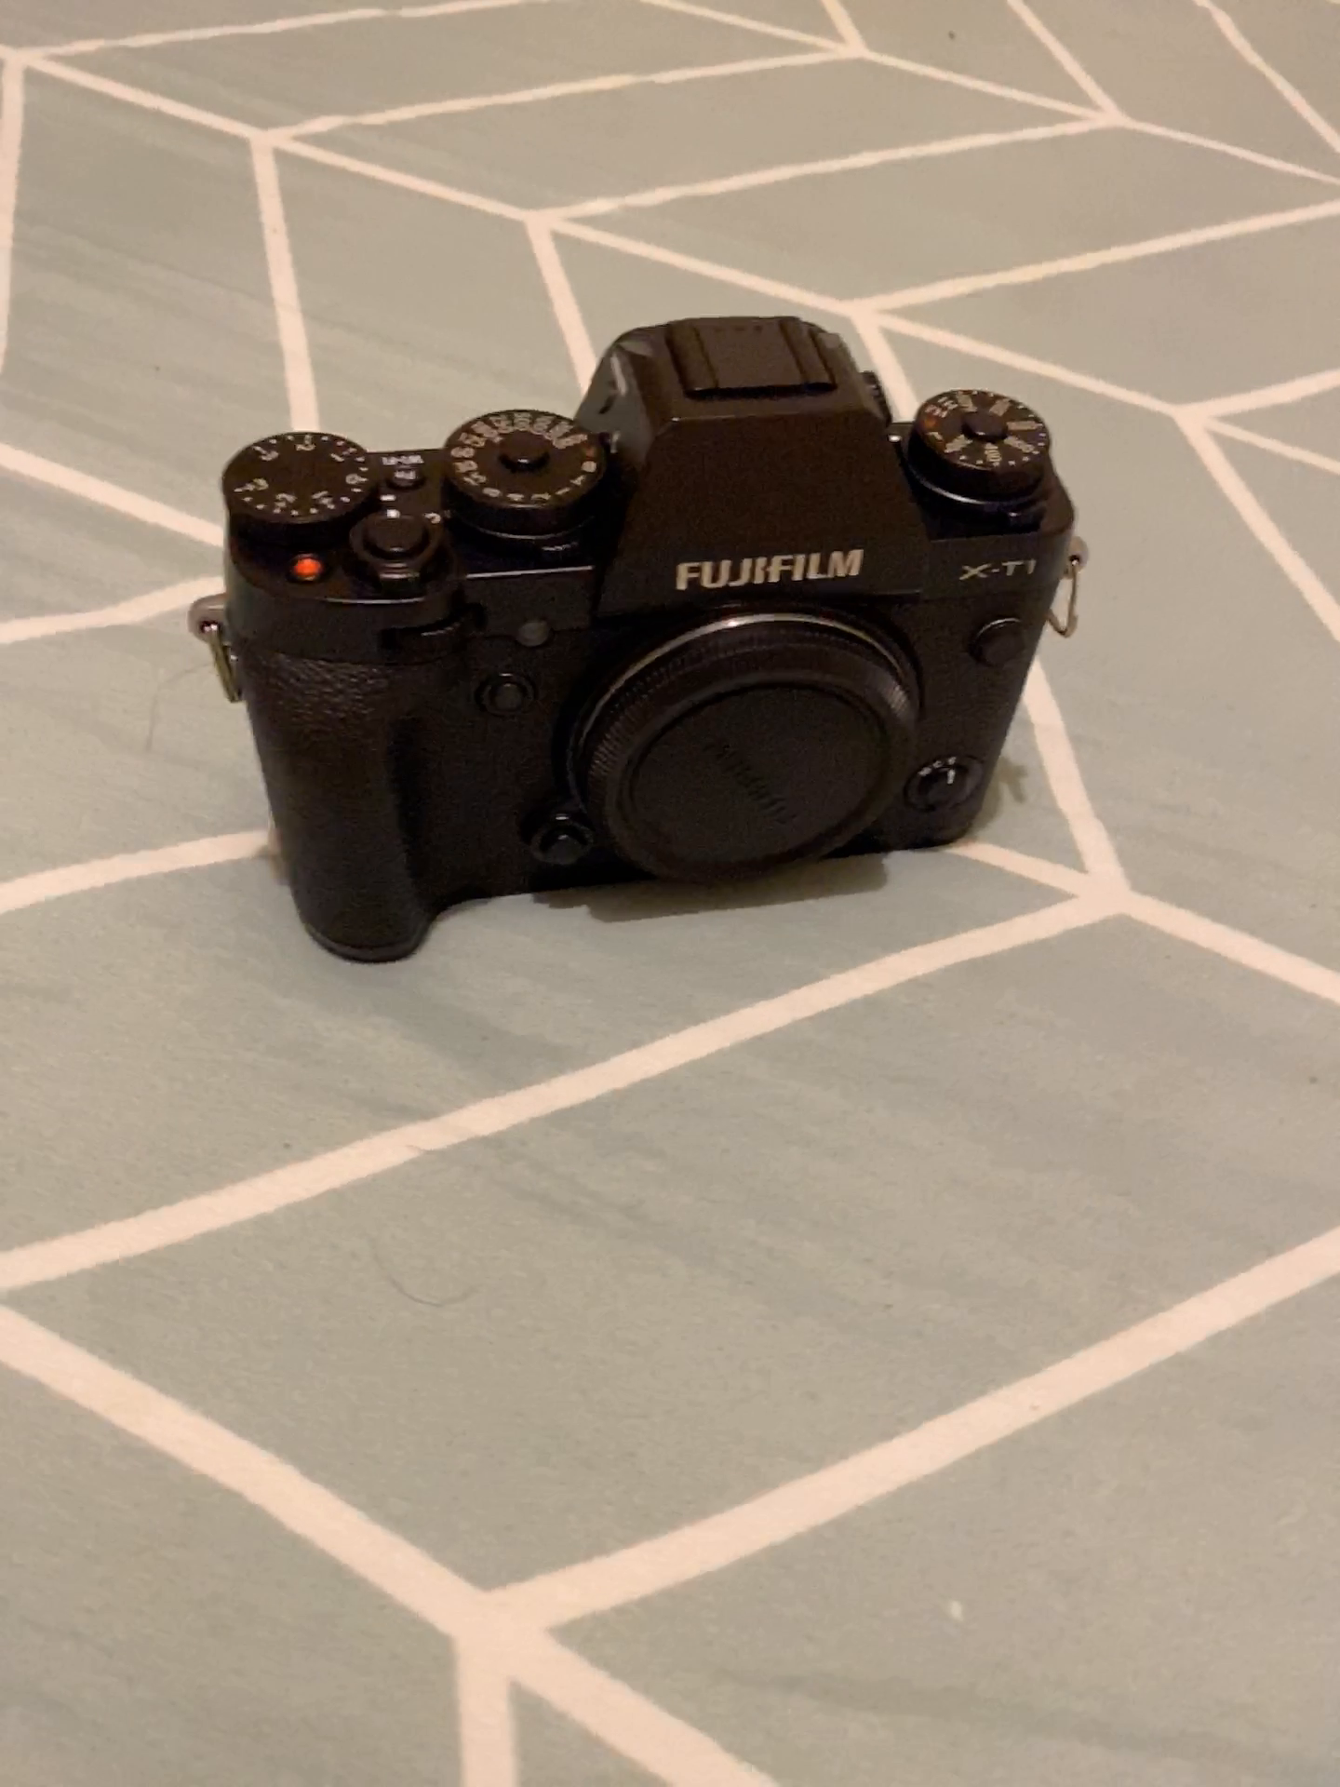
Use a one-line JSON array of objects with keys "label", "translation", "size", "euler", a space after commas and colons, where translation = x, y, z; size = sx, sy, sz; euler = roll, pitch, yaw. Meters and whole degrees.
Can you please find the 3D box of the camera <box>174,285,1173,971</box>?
[{"label": "camera", "translation": [-0.003, -0.041, 0.226], "size": [0.130, 0.087, 0.052], "euler": [-7, 53, -10]}]
